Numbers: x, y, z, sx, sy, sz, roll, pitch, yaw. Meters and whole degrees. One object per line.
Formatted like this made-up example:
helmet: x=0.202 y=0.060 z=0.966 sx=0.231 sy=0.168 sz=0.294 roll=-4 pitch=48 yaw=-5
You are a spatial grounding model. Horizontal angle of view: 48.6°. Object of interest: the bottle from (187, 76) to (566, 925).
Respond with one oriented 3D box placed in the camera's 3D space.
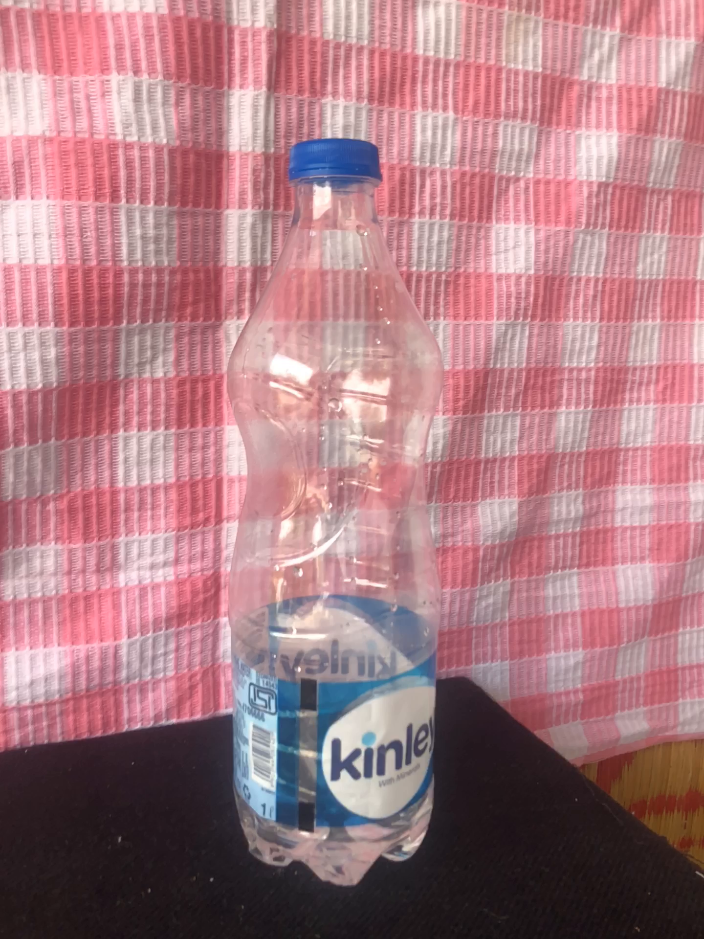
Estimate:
bottle: x=0.003 y=0.011 z=0.289 sx=0.090 sy=0.259 sz=0.080 roll=-6 pitch=16 yaw=-41
